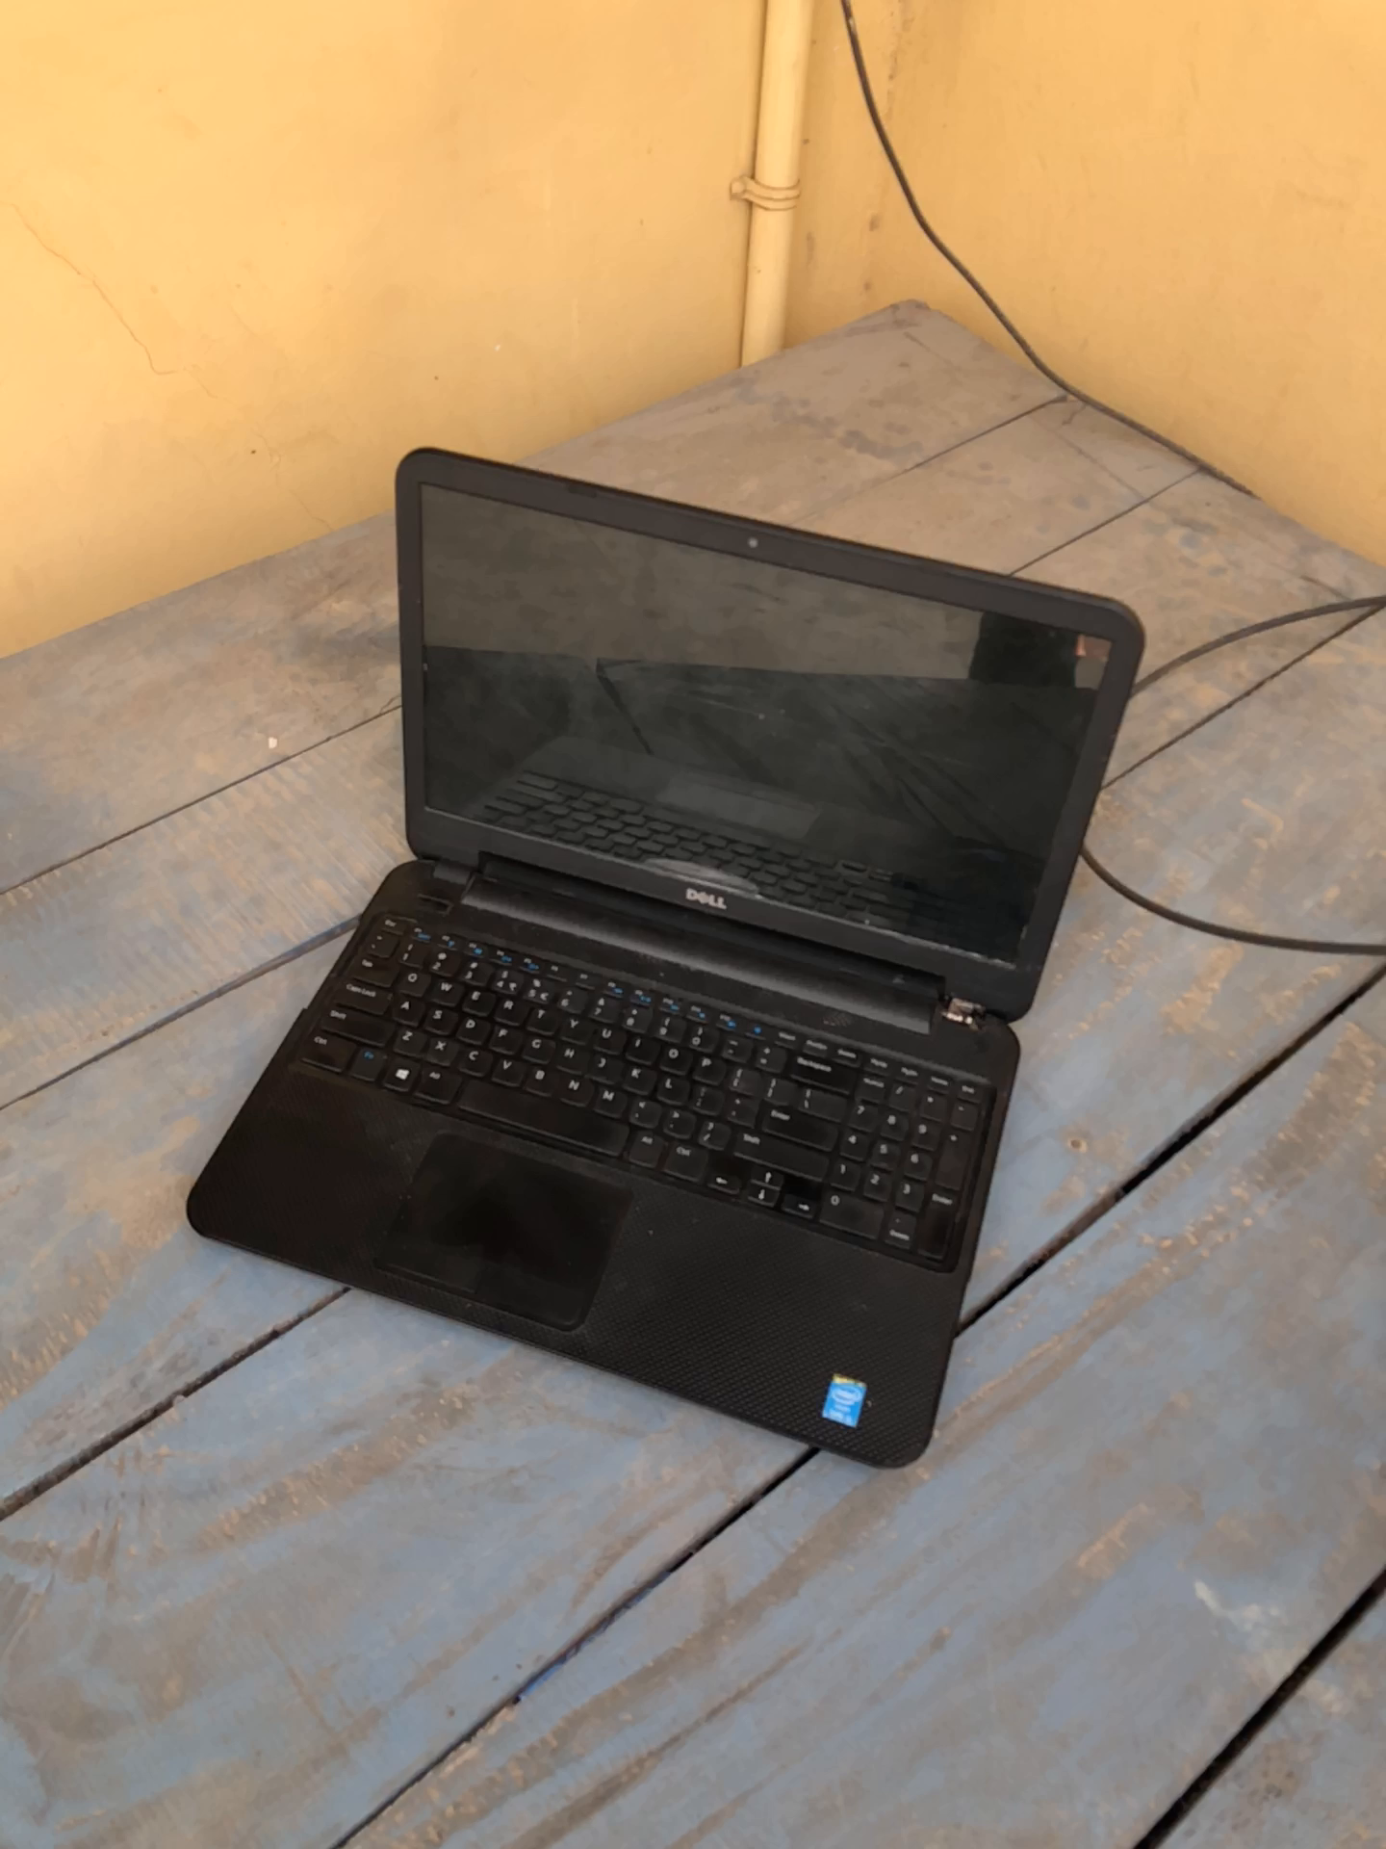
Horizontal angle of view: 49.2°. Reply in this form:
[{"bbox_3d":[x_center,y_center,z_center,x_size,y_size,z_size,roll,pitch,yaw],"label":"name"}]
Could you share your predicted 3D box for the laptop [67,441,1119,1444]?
[{"bbox_3d":[-0.022,-0.007,0.686,0.331,0.214,0.308,15,51,12],"label":"laptop"}]
